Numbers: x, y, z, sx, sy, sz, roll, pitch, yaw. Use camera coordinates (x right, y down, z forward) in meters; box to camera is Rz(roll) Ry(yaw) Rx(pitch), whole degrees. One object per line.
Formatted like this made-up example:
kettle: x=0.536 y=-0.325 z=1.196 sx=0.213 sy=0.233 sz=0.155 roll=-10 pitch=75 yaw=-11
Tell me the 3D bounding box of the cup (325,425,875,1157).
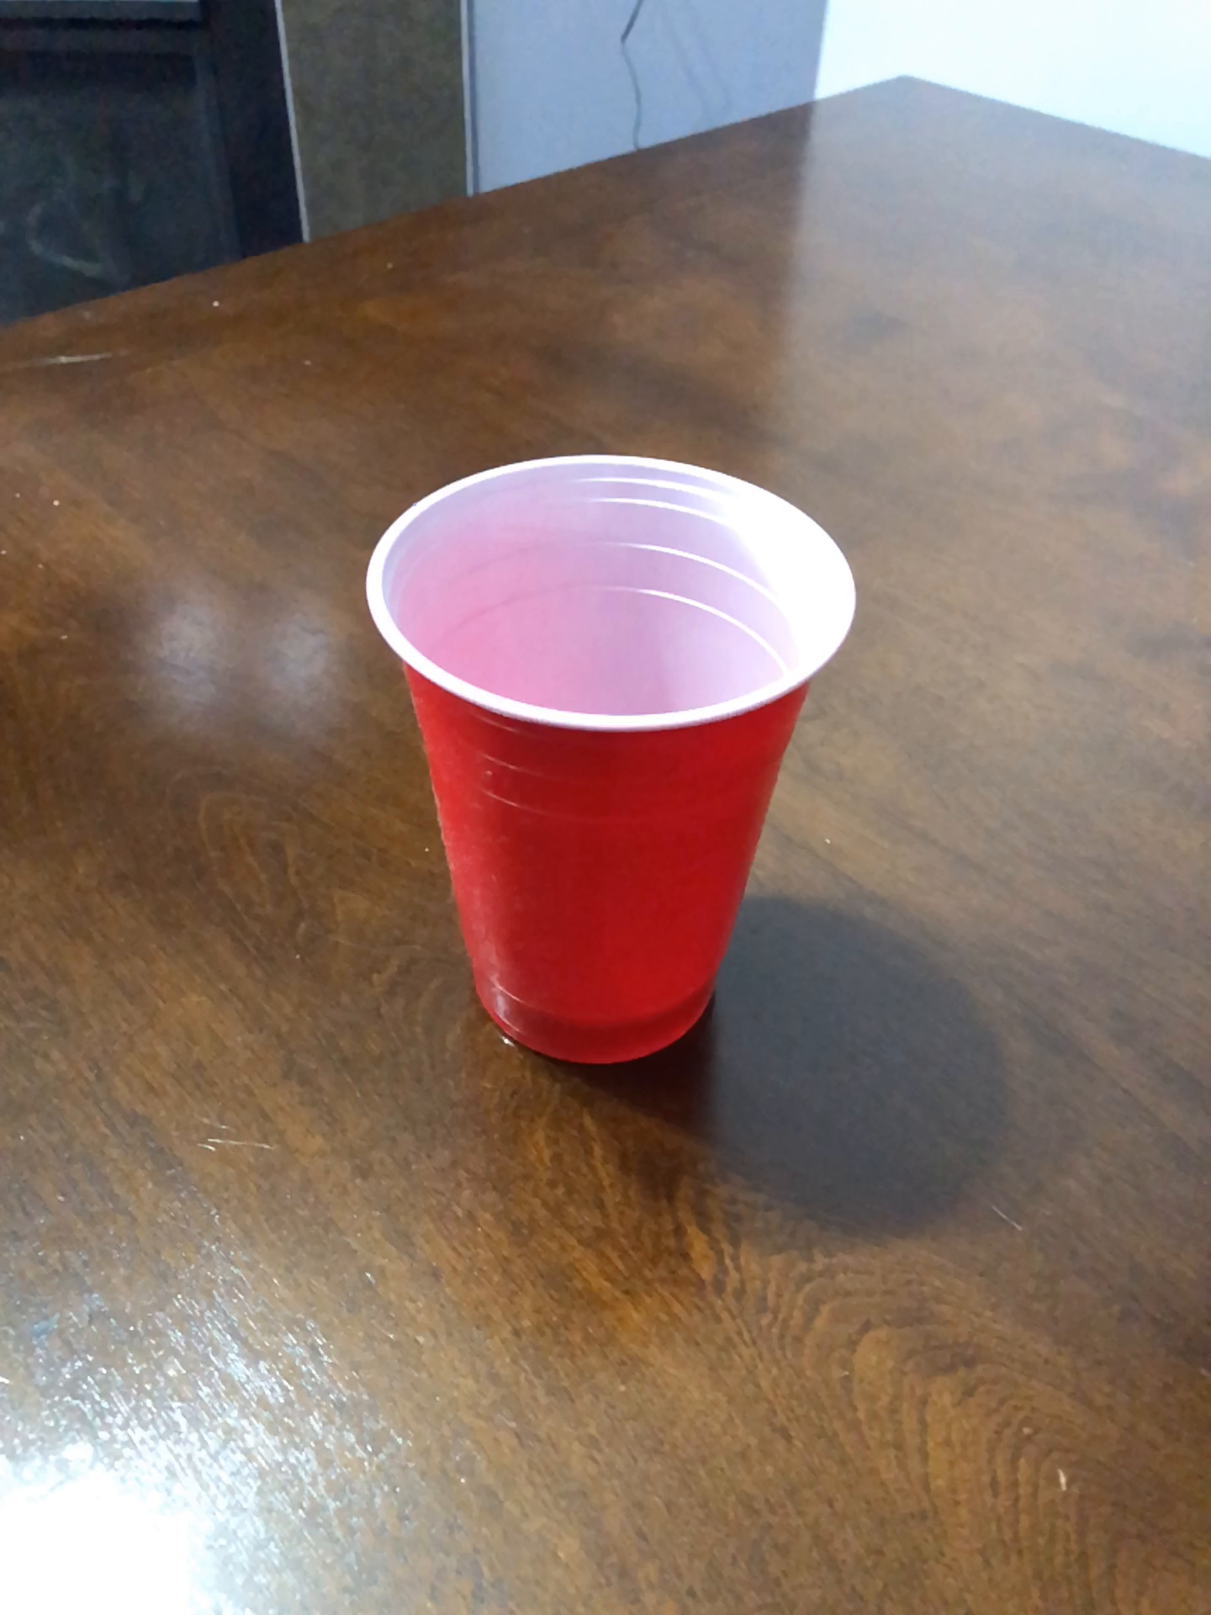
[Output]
cup: x=0.002 y=-0.004 z=0.292 sx=0.090 sy=0.120 sz=0.090 roll=2 pitch=40 yaw=-1
